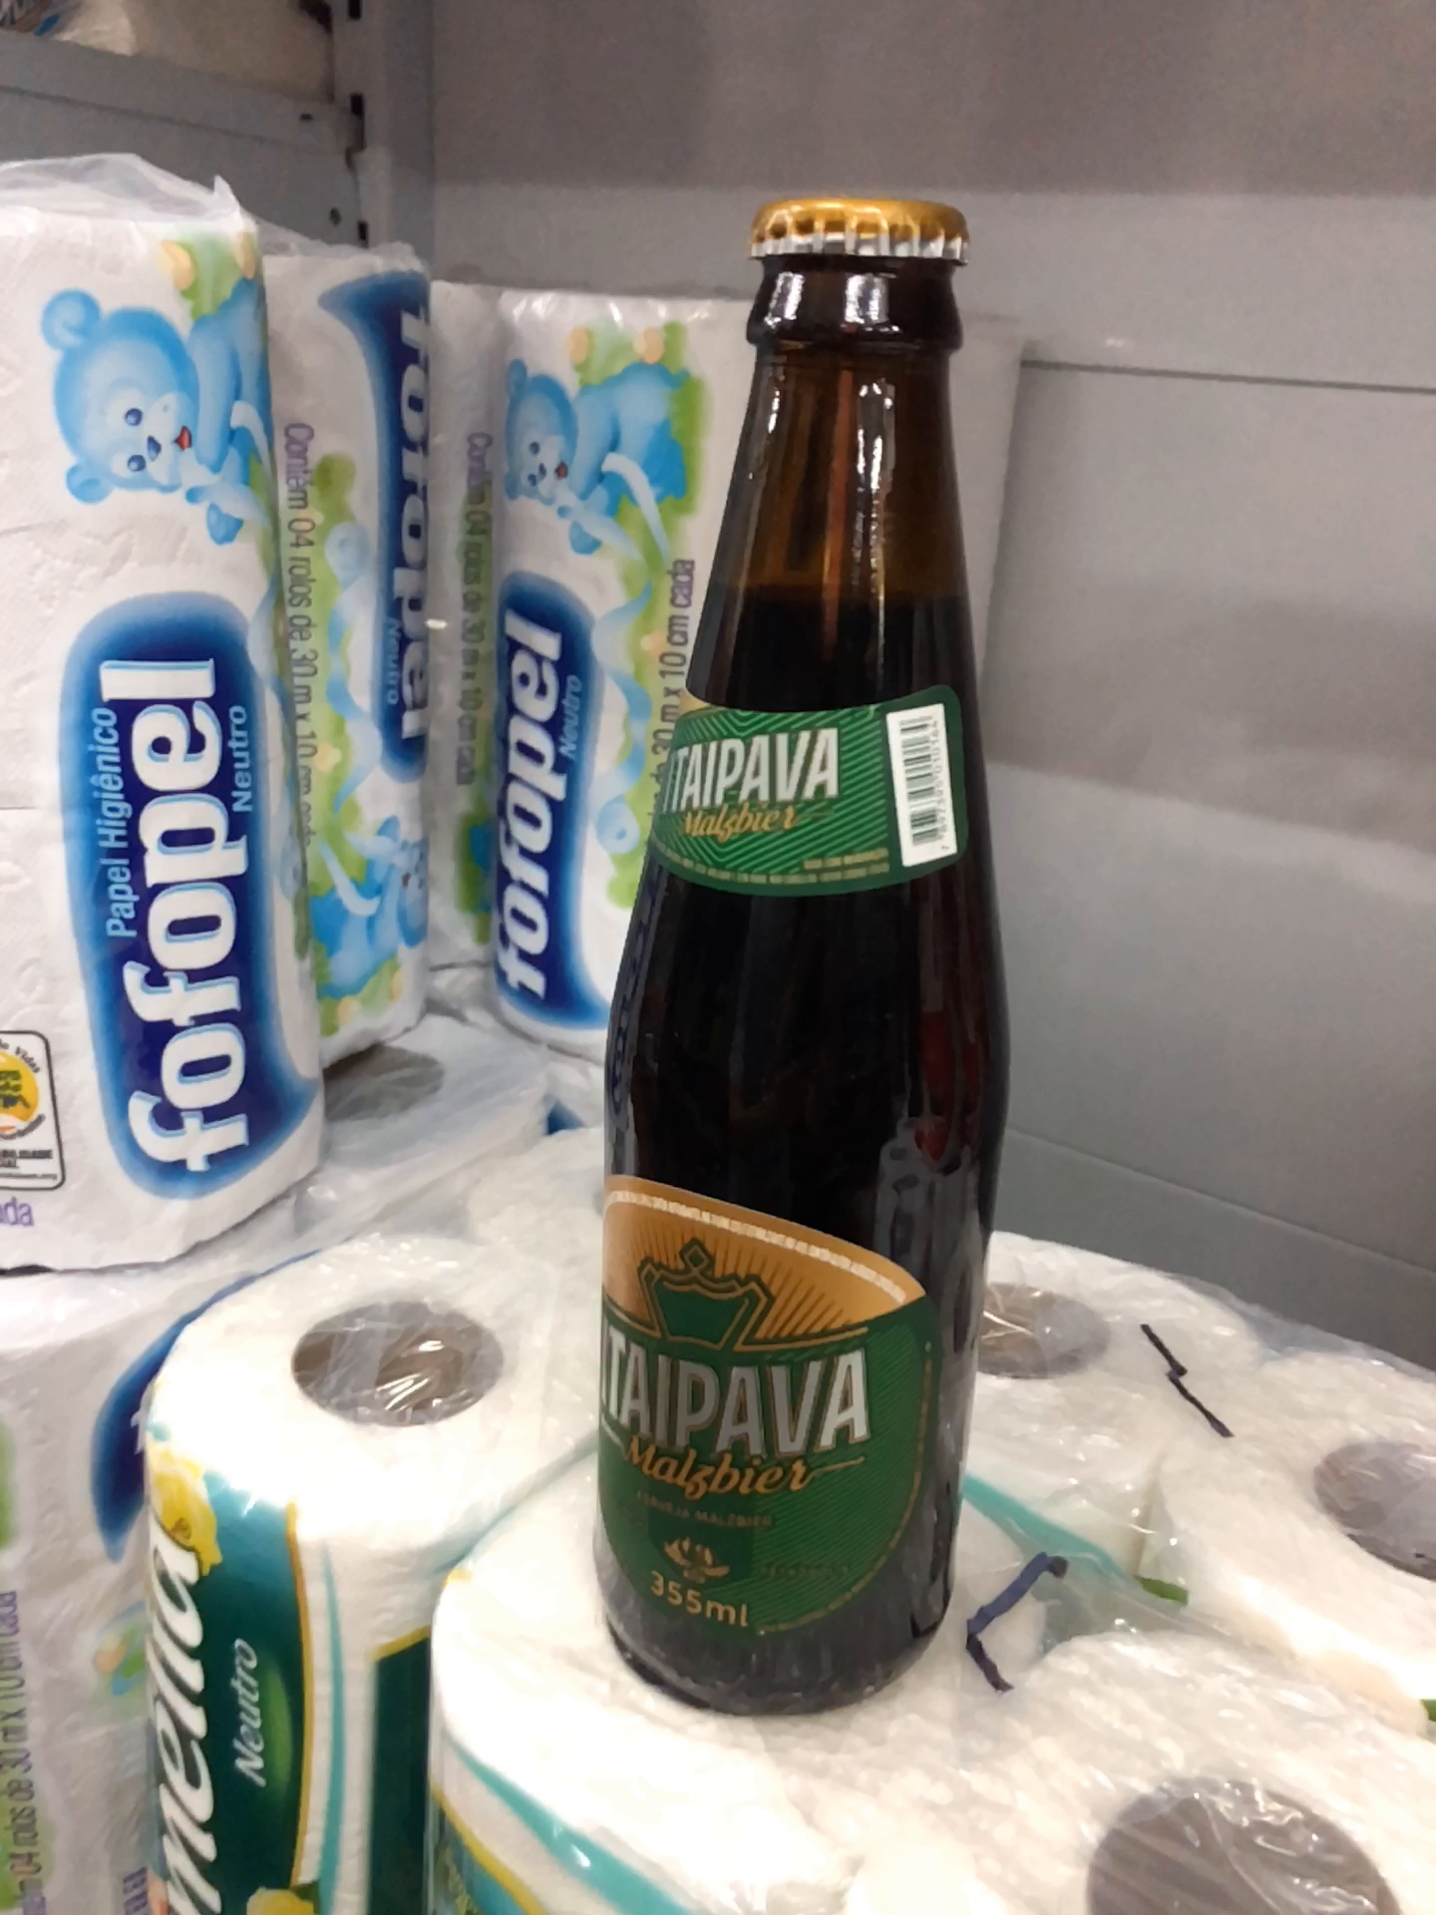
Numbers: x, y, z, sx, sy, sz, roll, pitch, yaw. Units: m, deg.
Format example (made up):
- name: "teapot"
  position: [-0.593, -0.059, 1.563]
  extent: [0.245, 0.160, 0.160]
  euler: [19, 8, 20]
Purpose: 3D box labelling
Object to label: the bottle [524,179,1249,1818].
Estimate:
- name: "bottle"
  position: [0.018, 0.009, 0.237]
  extent: [0.070, 0.219, 0.060]
  euler: [14, 24, 26]
